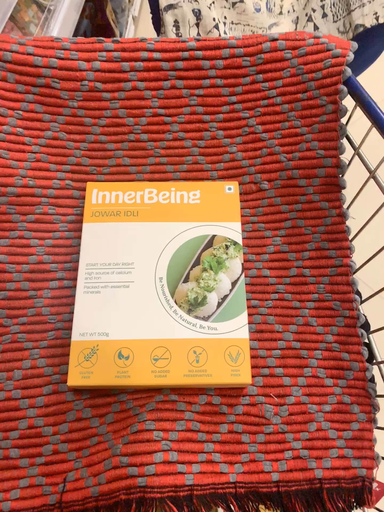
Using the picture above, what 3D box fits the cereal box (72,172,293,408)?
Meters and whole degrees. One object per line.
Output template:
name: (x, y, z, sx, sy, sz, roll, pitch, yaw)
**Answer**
cereal box: (-0.009, 0.025, 0.343, 0.150, 0.070, 0.190, -1, 62, -2)
